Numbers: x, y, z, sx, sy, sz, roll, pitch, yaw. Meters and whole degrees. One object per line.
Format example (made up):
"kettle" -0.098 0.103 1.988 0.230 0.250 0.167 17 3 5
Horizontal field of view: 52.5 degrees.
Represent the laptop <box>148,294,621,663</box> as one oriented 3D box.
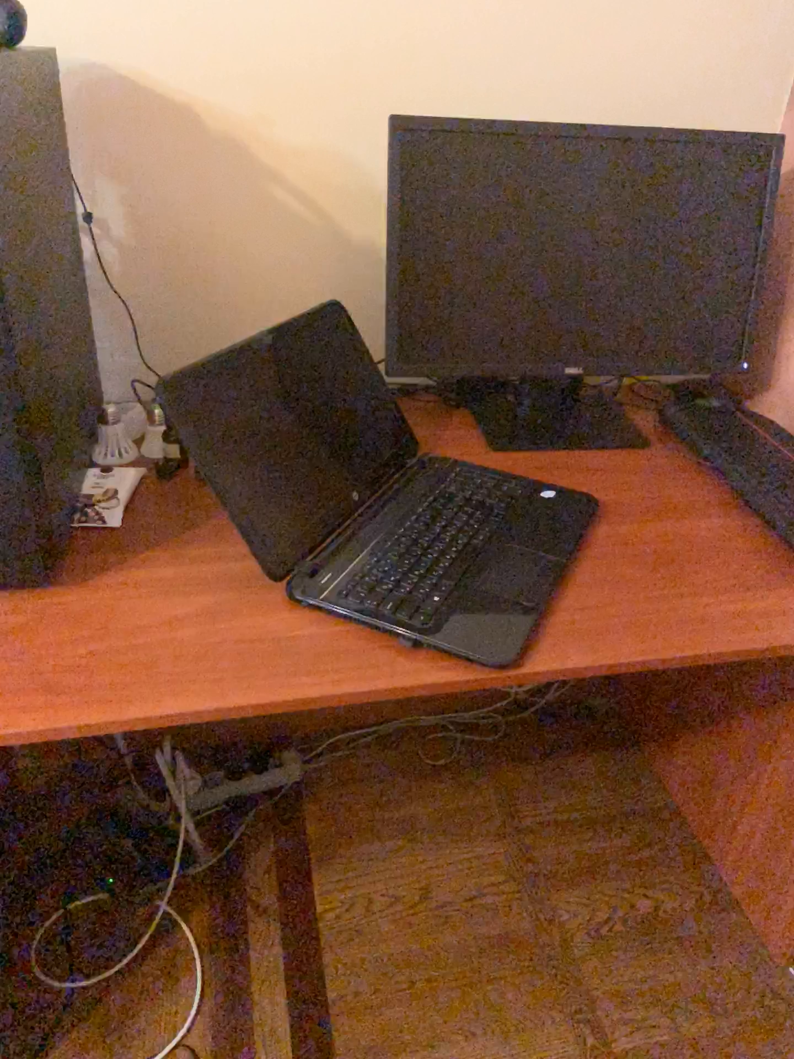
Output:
"laptop" 0.006 -0.086 0.831 0.357 0.168 0.333 18 33 18
